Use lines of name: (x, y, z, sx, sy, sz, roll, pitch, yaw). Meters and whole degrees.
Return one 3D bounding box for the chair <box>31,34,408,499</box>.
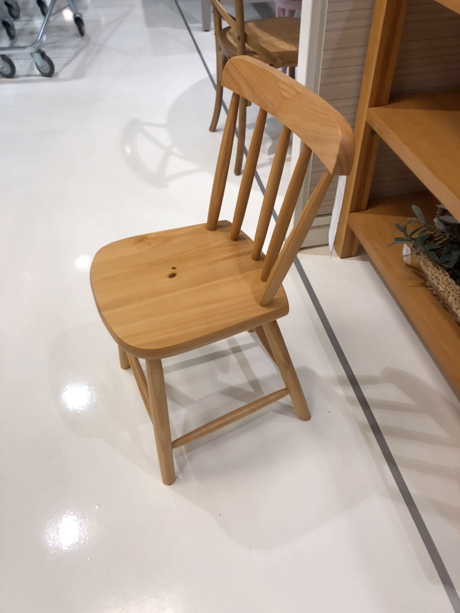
chair: (-0.034, -0.053, 1.032, 0.450, 0.754, 0.423, -18, 46, -15)
